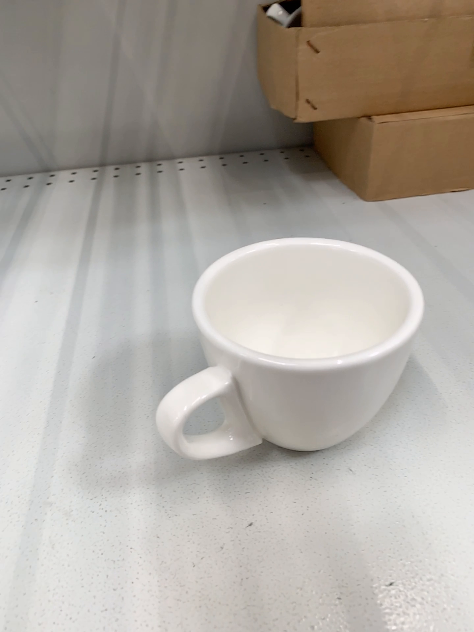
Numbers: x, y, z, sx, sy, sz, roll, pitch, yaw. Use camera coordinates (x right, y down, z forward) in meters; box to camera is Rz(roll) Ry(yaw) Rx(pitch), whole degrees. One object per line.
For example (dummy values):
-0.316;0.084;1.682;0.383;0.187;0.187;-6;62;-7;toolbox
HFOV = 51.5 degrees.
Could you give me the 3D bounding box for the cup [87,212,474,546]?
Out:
0.018;0.014;0.223;0.132;0.062;0.095;-22;39;-24;cup
